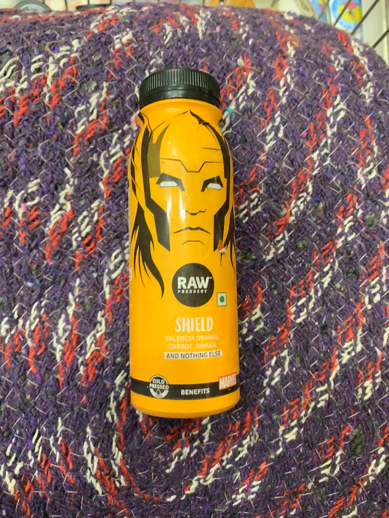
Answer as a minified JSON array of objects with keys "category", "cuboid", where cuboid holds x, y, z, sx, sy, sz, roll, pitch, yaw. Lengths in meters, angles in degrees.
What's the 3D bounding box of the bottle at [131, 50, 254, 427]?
[{"category":"bottle","cuboid":[-0.004,-0.010,0.198,0.050,0.050,0.160,0,84,-6]}]
